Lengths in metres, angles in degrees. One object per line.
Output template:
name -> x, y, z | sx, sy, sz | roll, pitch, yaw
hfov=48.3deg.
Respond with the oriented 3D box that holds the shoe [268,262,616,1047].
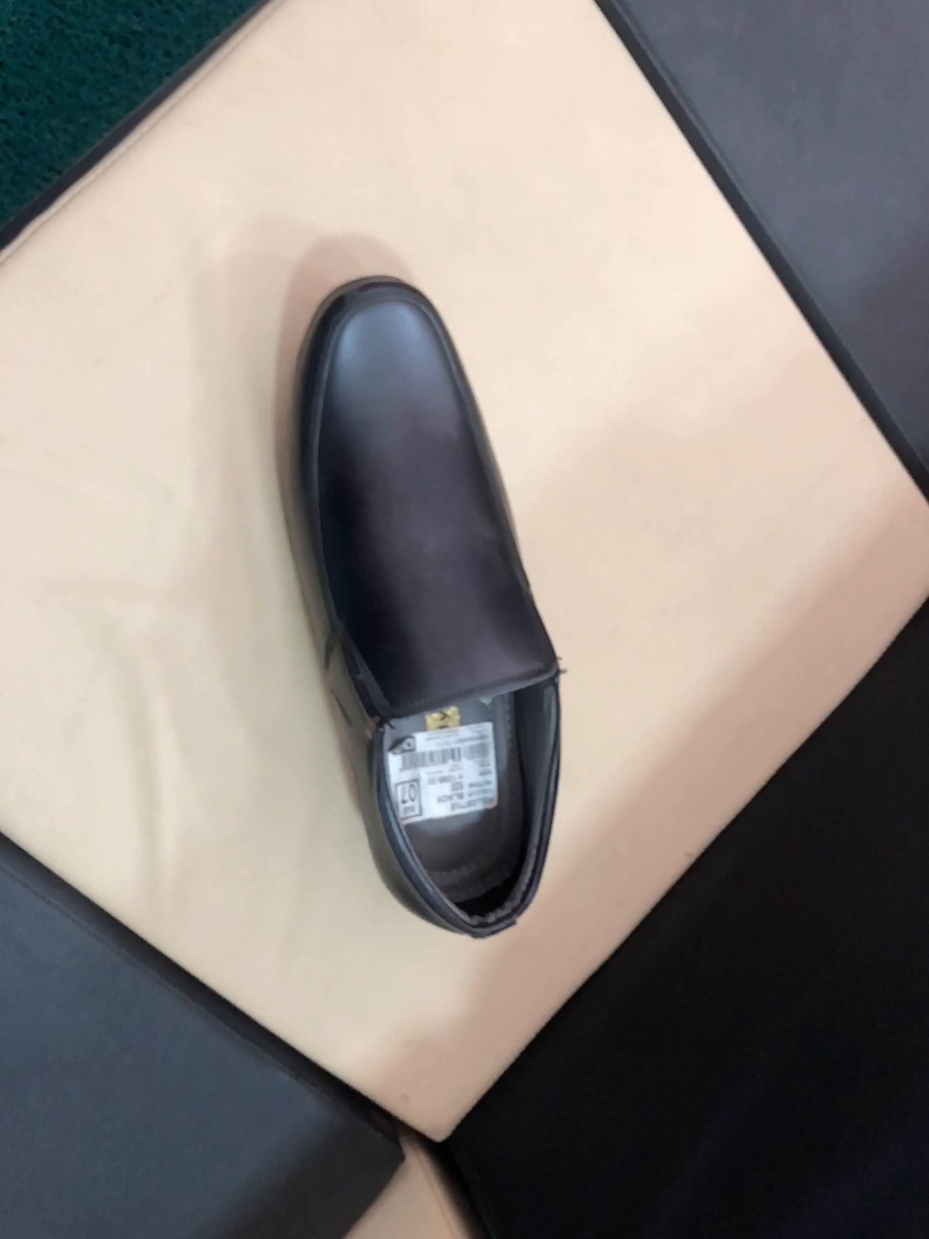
shoe -> -0.009, 0.014, 0.475 | 0.100, 0.100, 0.320 | -10, 104, -18
